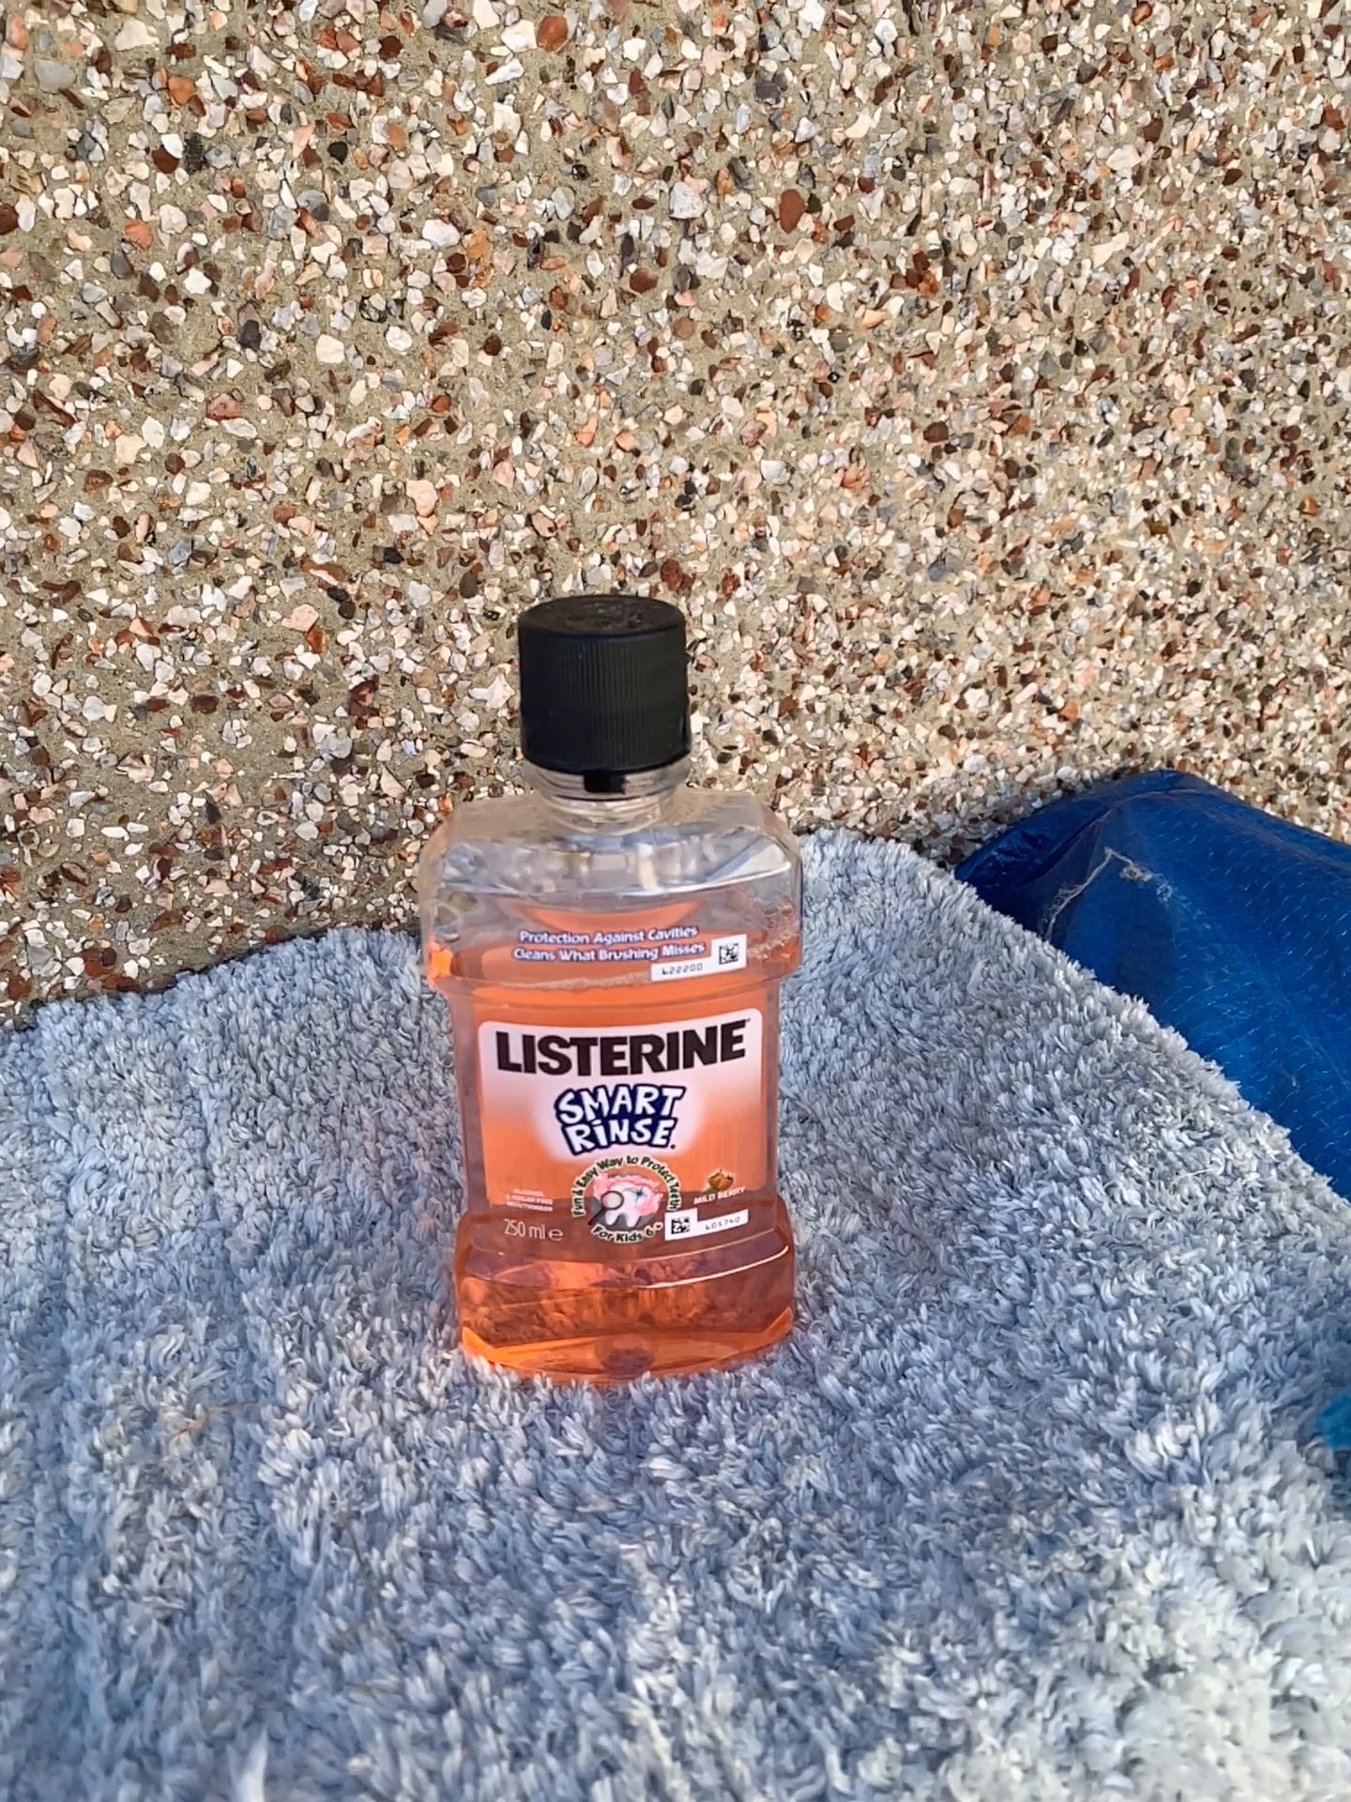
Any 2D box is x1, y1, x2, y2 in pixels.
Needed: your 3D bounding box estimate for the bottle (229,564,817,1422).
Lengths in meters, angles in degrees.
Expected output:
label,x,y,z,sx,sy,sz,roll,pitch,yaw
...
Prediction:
label,x,y,z,sx,sy,sz,roll,pitch,yaw
bottle,-0.021,0.022,0.273,0.090,0.158,0.050,-4,28,-2
